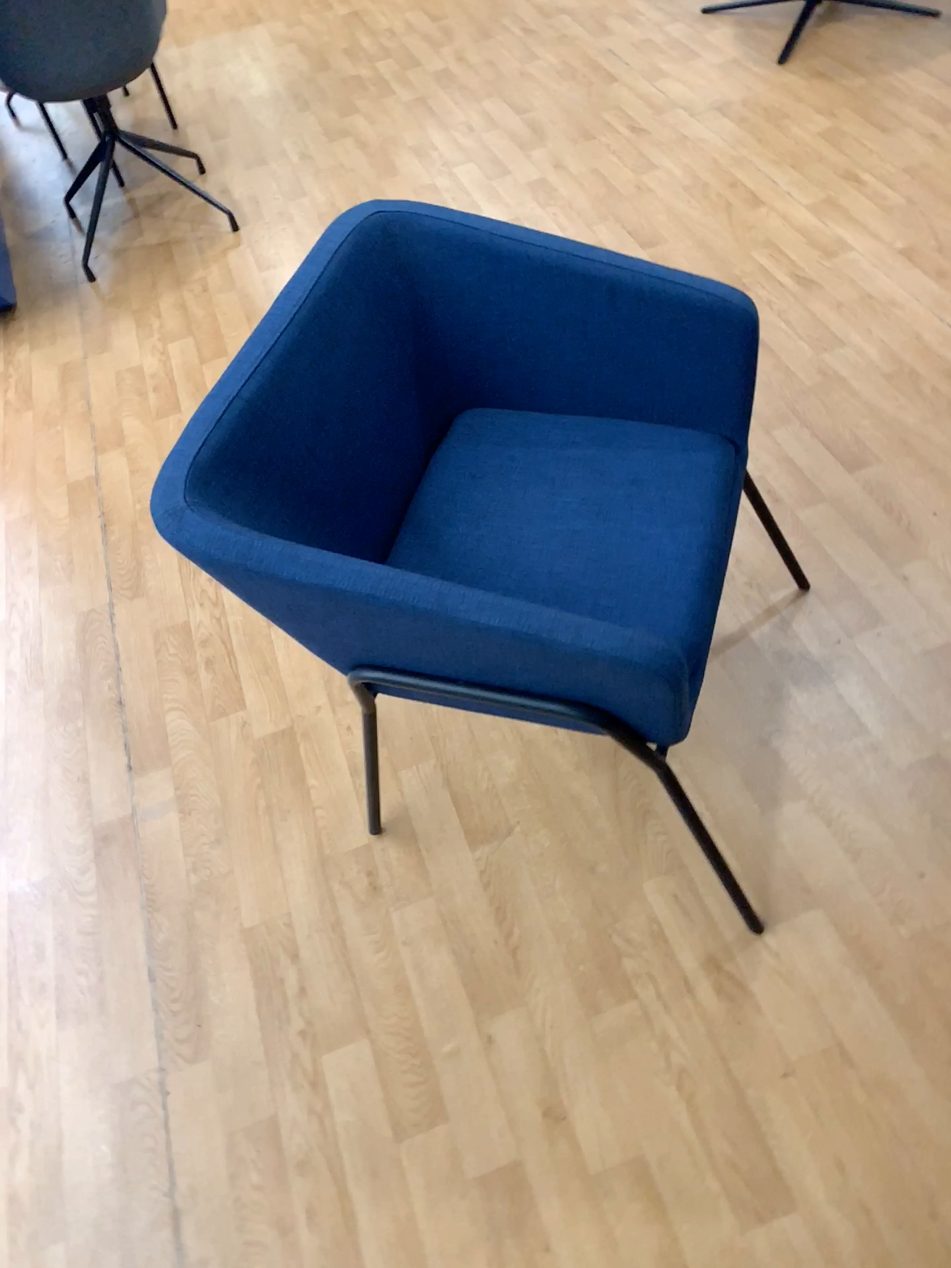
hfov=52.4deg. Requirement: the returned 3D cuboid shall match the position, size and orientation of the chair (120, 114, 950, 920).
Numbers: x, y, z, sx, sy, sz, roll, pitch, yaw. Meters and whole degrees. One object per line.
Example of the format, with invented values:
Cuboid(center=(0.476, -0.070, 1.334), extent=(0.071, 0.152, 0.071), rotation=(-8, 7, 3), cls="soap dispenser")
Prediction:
Cuboid(center=(0.162, -0.177, 1.291), extent=(0.751, 0.685, 0.704), rotation=(9, 53, 18), cls="chair")
